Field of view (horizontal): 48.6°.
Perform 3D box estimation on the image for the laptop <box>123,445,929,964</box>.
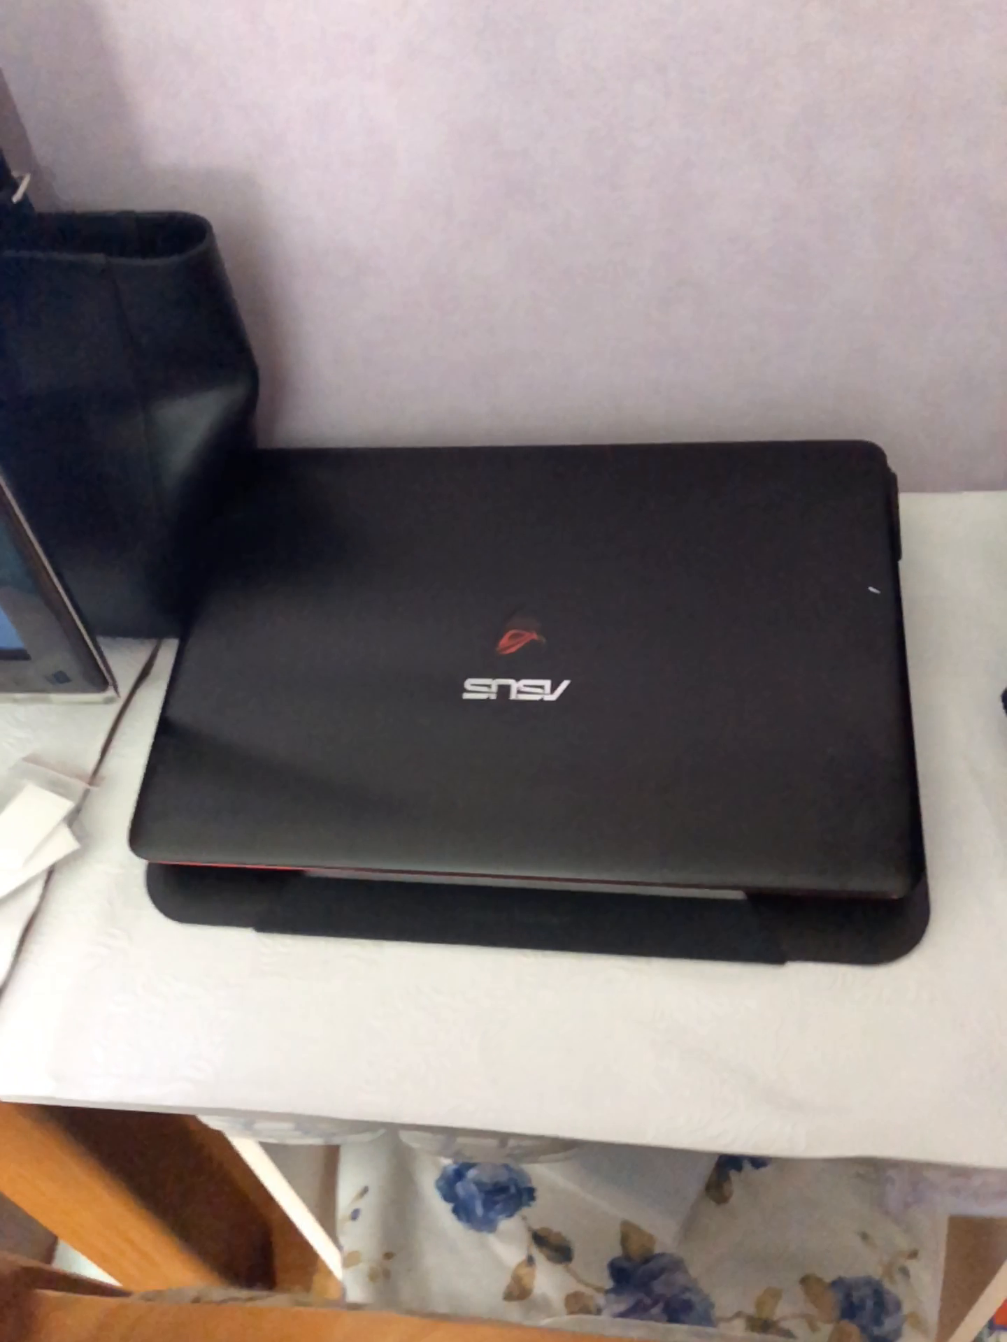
[{"bbox_3d":[0.011,0.003,0.627,0.394,0.060,0.267,1,59,10],"label":"laptop"}]
